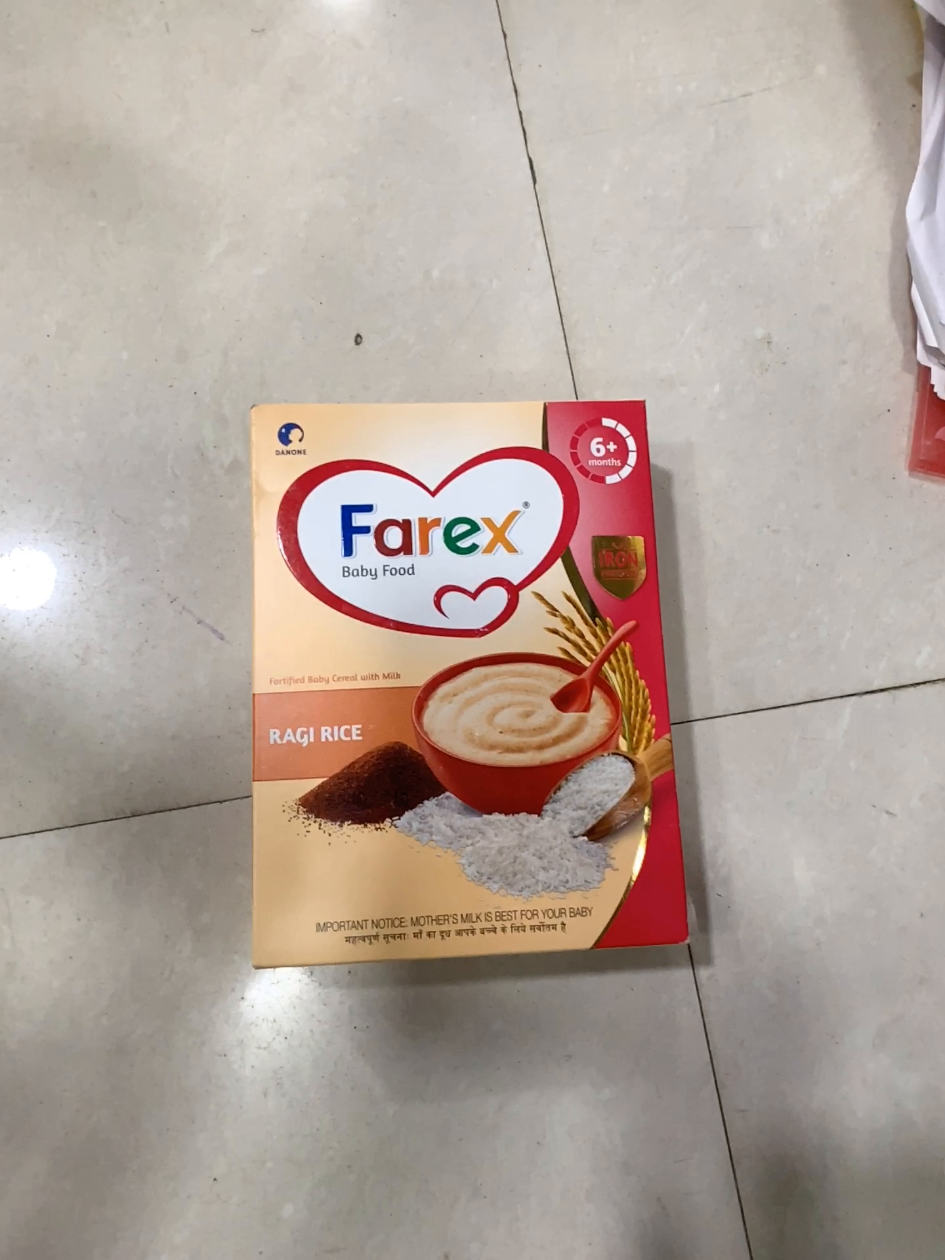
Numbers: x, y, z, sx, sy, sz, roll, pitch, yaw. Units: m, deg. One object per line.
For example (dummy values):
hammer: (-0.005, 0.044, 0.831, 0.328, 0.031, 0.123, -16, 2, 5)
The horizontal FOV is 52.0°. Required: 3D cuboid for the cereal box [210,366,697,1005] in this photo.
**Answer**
cereal box: (-0.011, 0.014, 0.338, 0.150, 0.050, 0.200, -1, 81, -9)
